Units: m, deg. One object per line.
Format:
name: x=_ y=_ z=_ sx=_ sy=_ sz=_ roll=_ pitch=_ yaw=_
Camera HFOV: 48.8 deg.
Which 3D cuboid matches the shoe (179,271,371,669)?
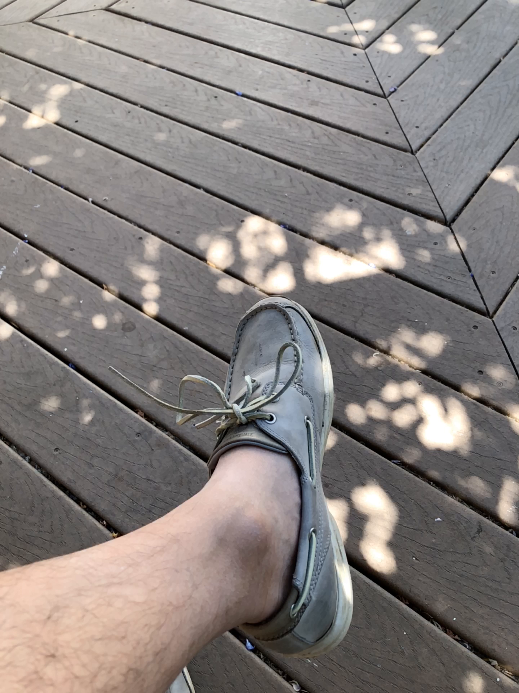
shoe: x=0.012 y=0.101 z=0.520 sx=0.110 sy=0.092 sz=0.323 roll=-26 pitch=48 yaw=33
